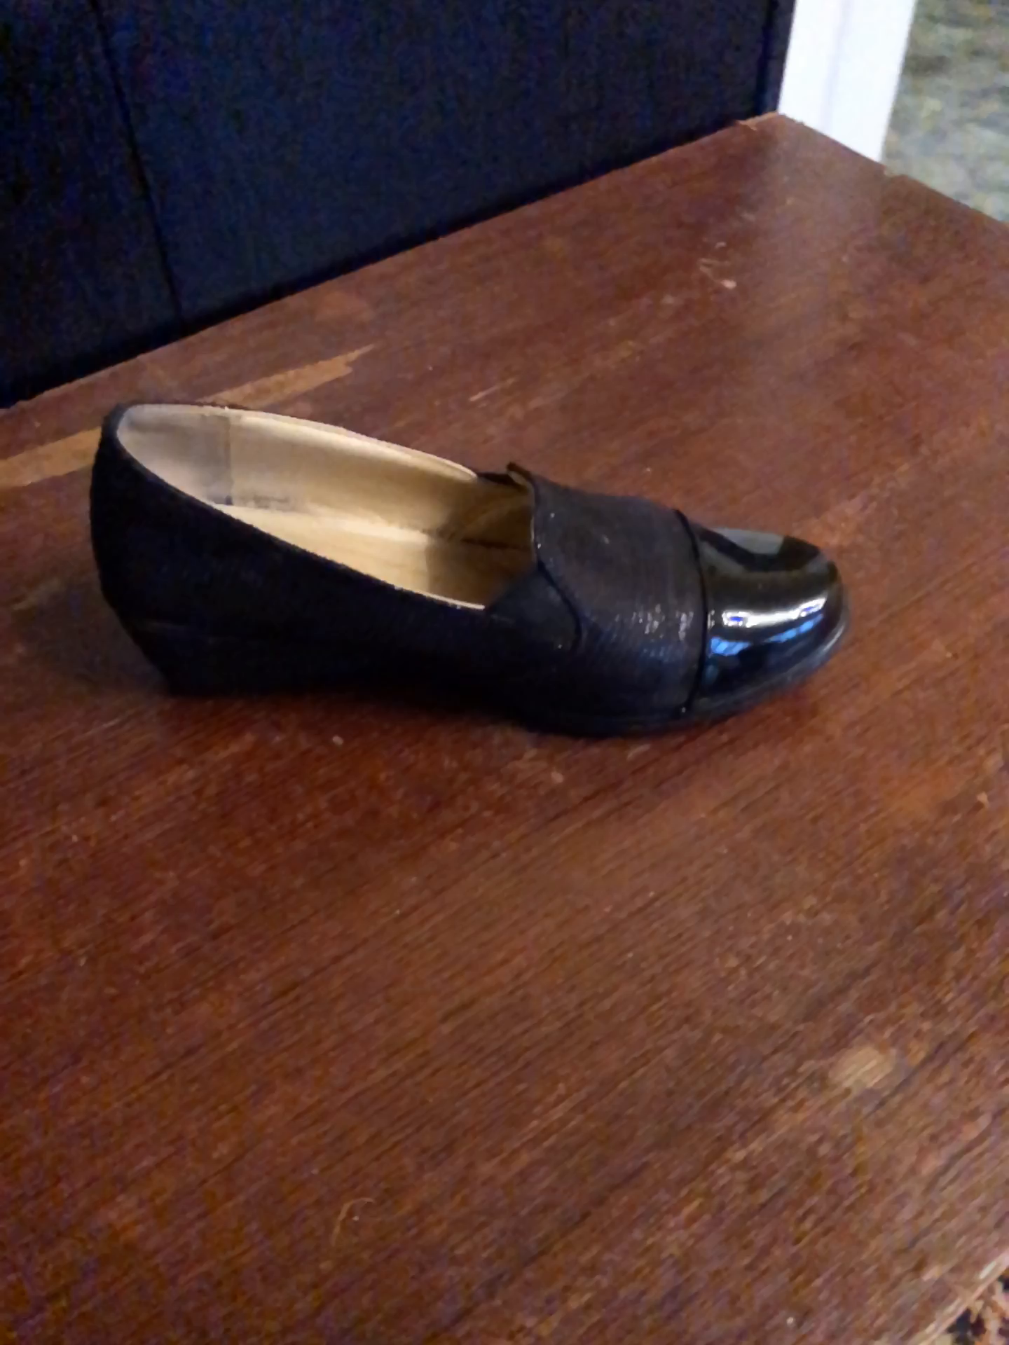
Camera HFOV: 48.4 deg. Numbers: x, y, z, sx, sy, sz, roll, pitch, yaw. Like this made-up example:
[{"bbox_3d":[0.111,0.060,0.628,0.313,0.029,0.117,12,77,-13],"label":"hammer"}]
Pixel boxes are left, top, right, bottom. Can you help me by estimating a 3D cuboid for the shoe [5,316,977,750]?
[{"bbox_3d":[-0.003,-0.041,0.335,0.235,0.090,0.090,0,50,2],"label":"shoe"}]
